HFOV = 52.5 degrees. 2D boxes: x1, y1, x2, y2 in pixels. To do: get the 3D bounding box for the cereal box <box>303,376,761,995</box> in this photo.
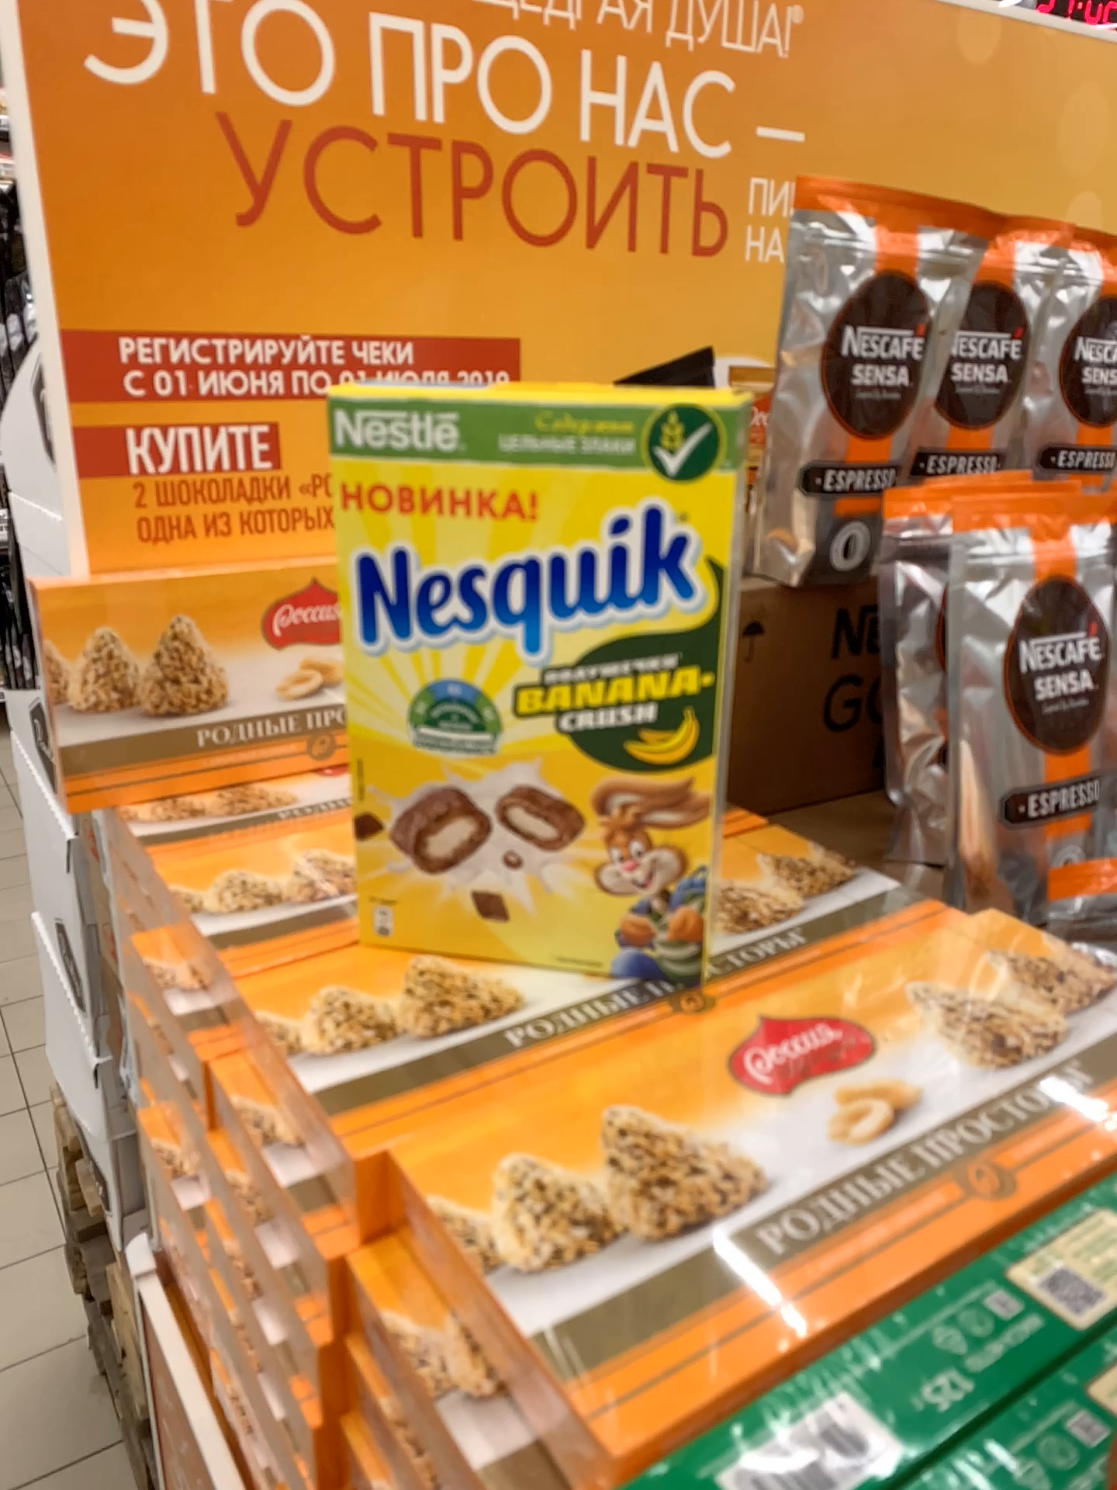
[{"bbox_3d":[-0.009,-0.025,0.450,0.160,0.229,0.050,5,19,13],"label":"cereal box"}]
